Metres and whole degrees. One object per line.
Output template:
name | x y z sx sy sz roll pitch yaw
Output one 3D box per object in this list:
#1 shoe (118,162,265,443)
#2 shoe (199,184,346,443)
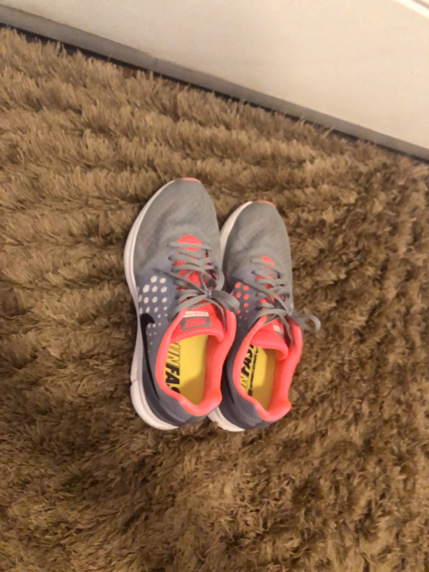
shoe | -0.031 0.023 0.530 0.114 0.121 0.270 5 76 -27
shoe | 0.069 0.040 0.570 0.119 0.119 0.270 11 74 -26
